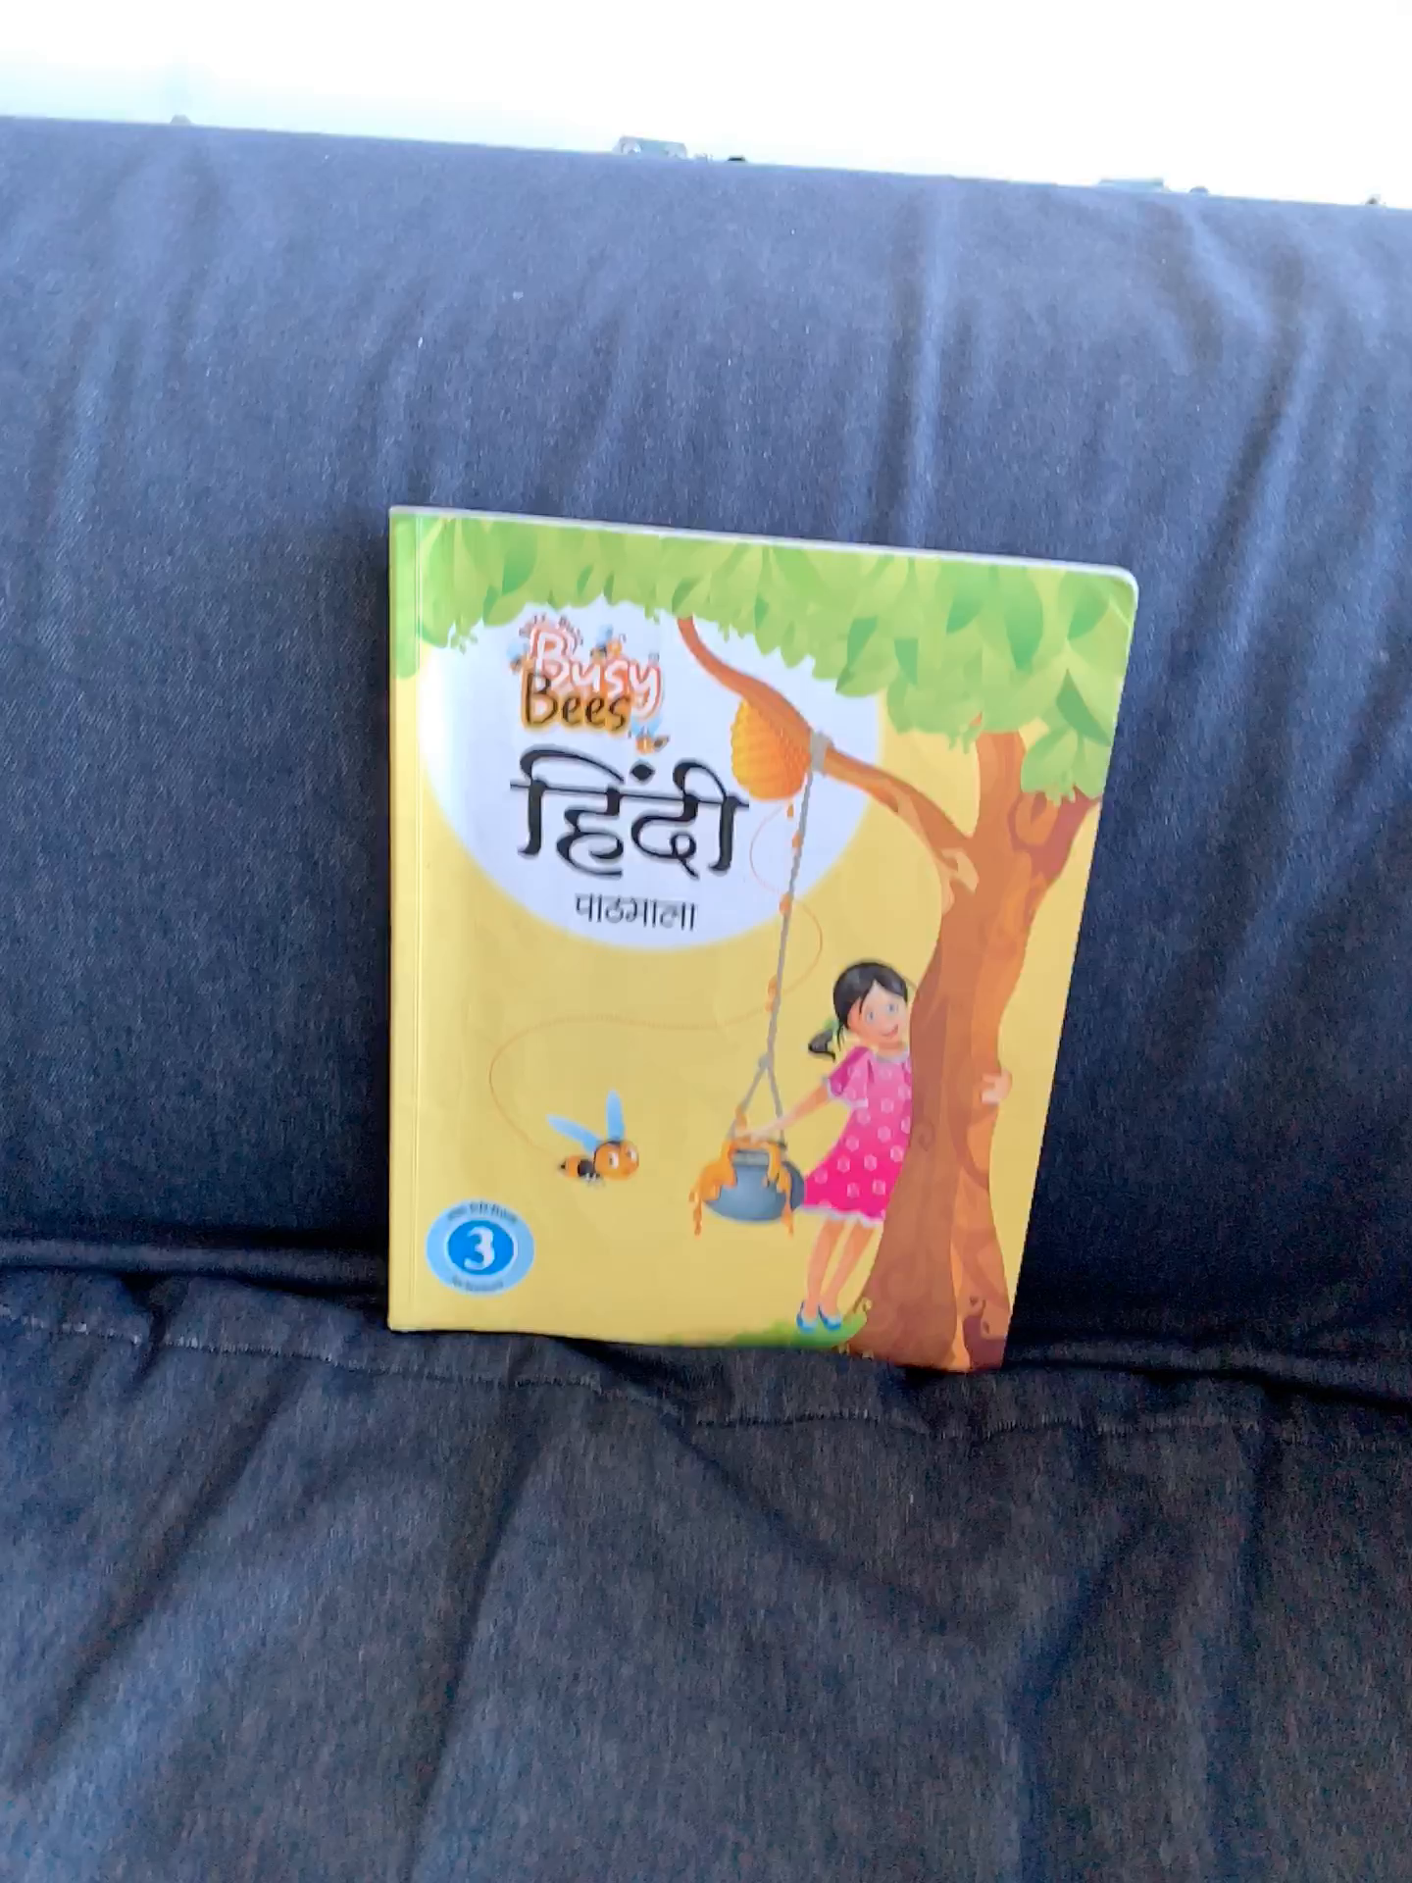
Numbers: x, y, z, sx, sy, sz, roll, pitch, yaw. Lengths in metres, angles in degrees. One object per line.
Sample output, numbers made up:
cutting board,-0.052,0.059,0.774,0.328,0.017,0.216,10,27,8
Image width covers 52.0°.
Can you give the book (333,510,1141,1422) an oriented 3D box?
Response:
book,-0.002,0.018,0.472,0.230,0.284,0.029,5,19,2
